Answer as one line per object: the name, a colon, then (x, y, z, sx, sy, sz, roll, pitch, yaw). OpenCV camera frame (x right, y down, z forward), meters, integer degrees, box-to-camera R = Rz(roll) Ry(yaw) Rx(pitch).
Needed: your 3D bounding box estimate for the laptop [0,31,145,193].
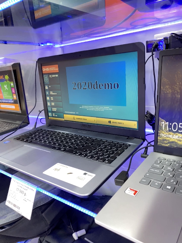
laptop: (-0.093, -0.050, 0.470, 0.372, 0.232, 0.262, 5, 18, 36)
